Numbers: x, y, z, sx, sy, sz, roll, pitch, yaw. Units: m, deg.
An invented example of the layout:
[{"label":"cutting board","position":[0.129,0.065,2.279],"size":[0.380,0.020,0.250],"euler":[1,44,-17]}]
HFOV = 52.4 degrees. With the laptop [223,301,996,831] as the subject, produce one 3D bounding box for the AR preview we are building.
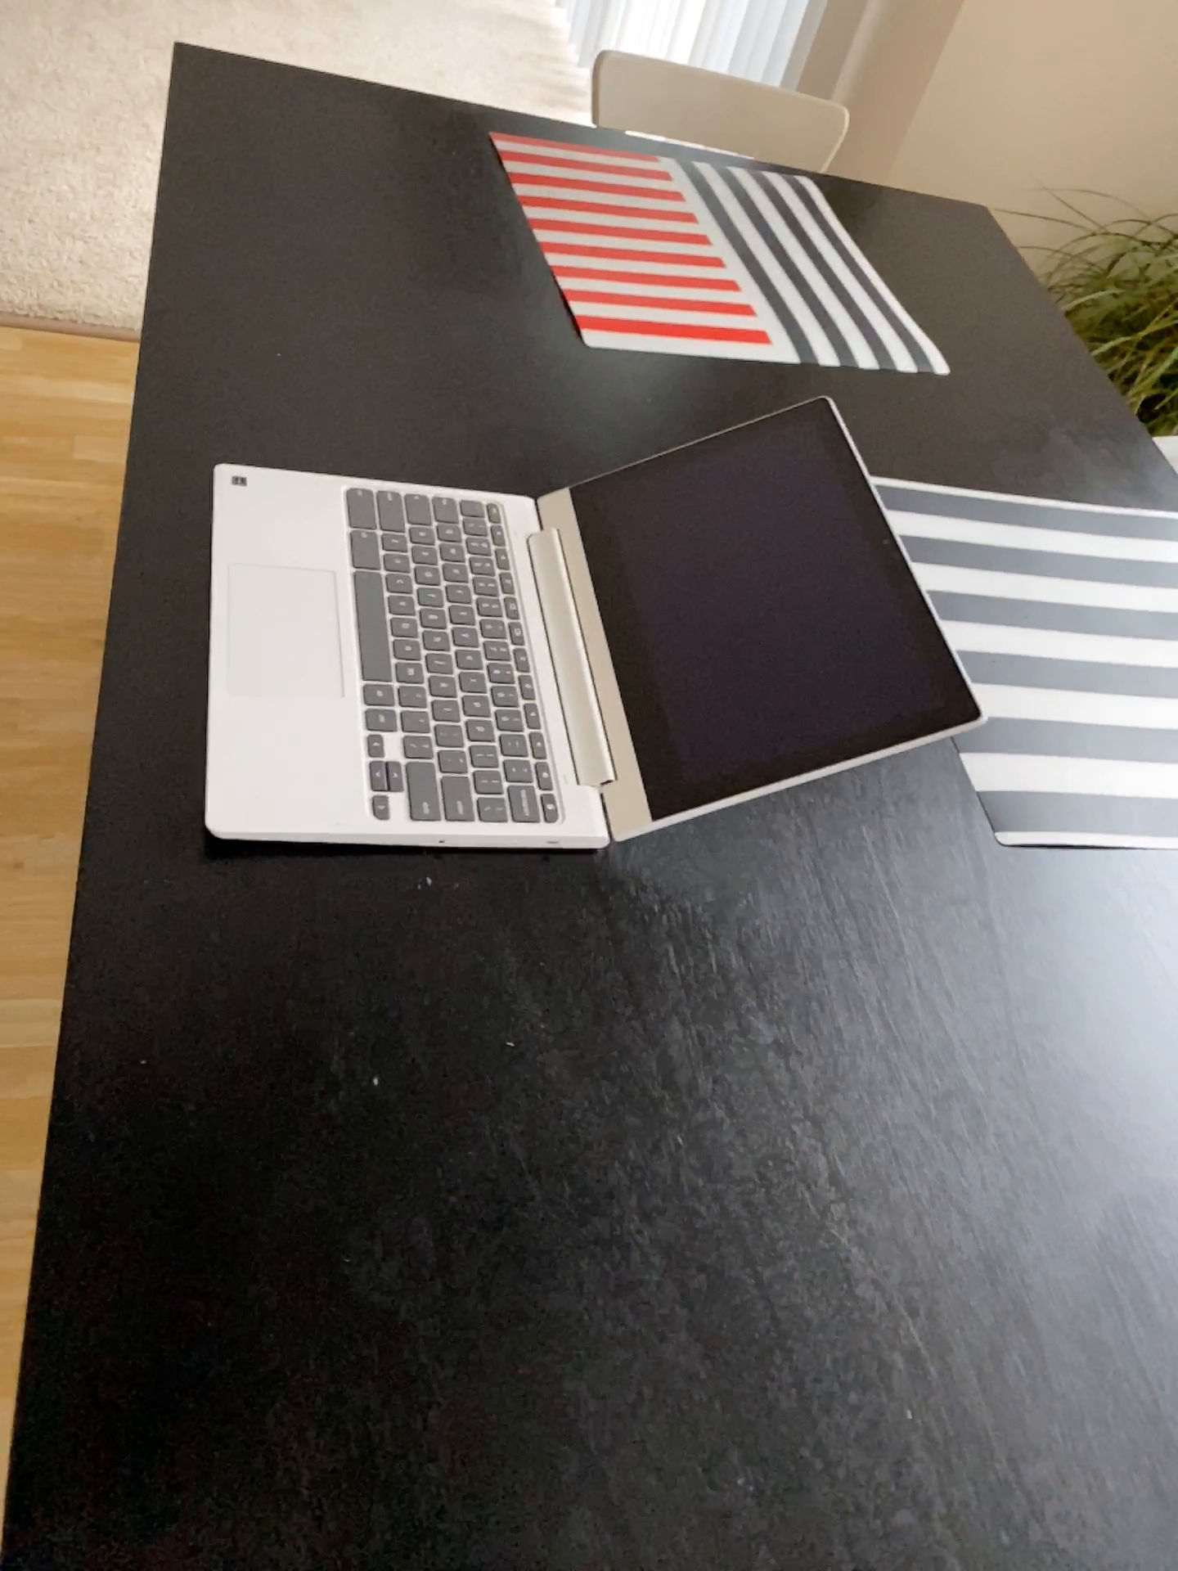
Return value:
[{"label":"laptop","position":[-0.008,-0.123,0.684],"size":[0.380,0.106,0.286],"euler":[1,51,-18]}]
